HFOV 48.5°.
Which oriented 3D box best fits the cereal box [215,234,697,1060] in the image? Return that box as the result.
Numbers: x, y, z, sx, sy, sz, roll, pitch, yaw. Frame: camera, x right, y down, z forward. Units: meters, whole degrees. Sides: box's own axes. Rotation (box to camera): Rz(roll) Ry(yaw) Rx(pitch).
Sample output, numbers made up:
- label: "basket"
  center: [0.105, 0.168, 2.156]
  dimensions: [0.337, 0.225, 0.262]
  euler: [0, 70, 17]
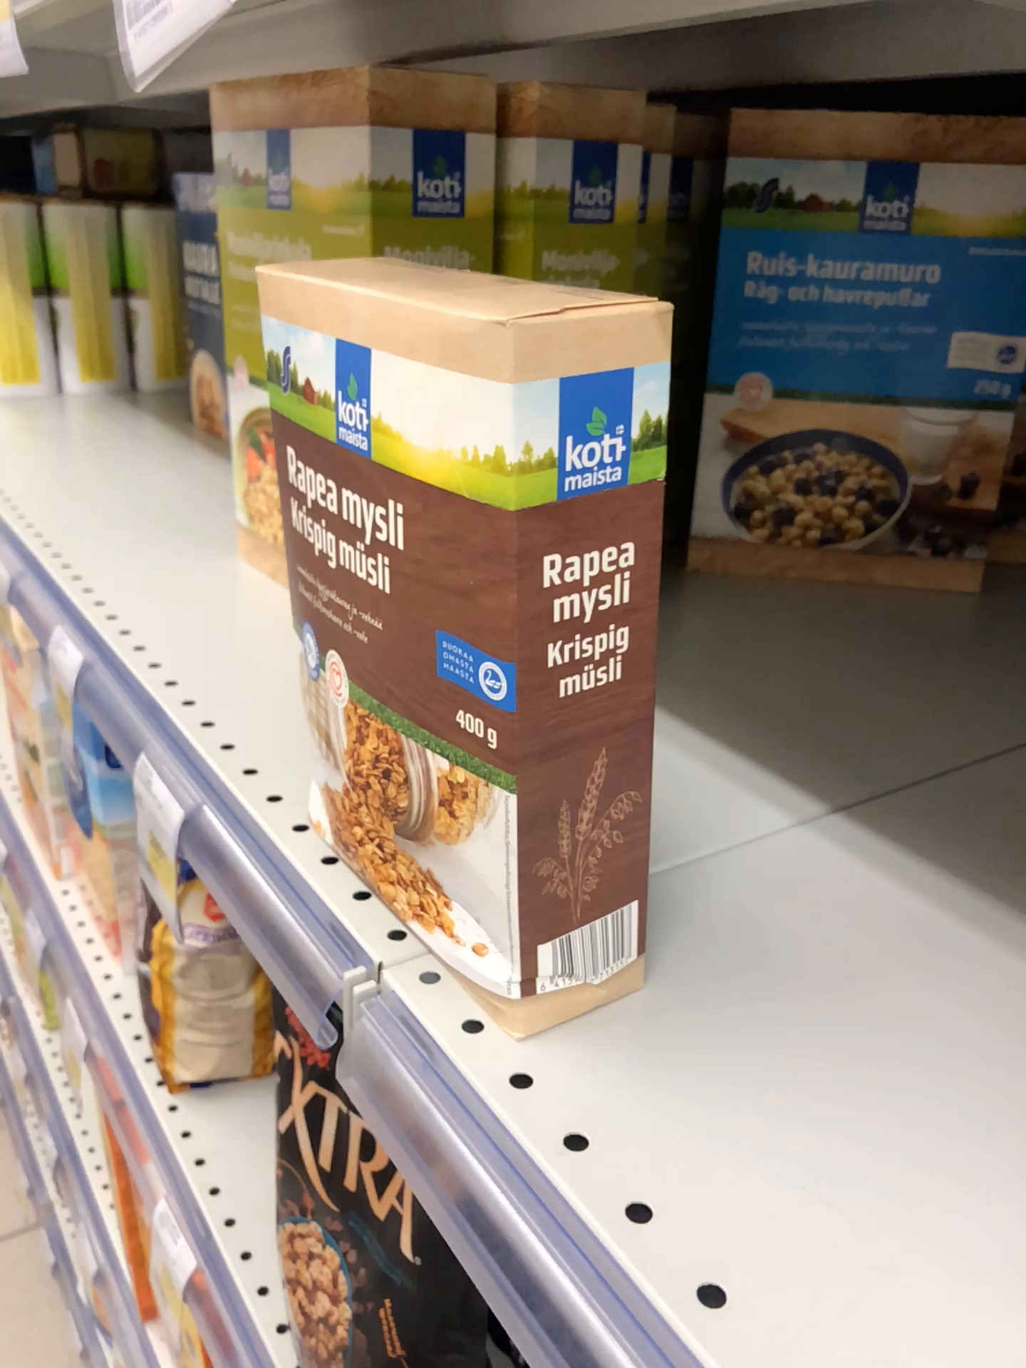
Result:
- label: "cereal box"
  center: [-0.023, -0.022, 0.323]
  dimensions: [0.050, 0.189, 0.151]
  euler: [-15, 28, -30]
